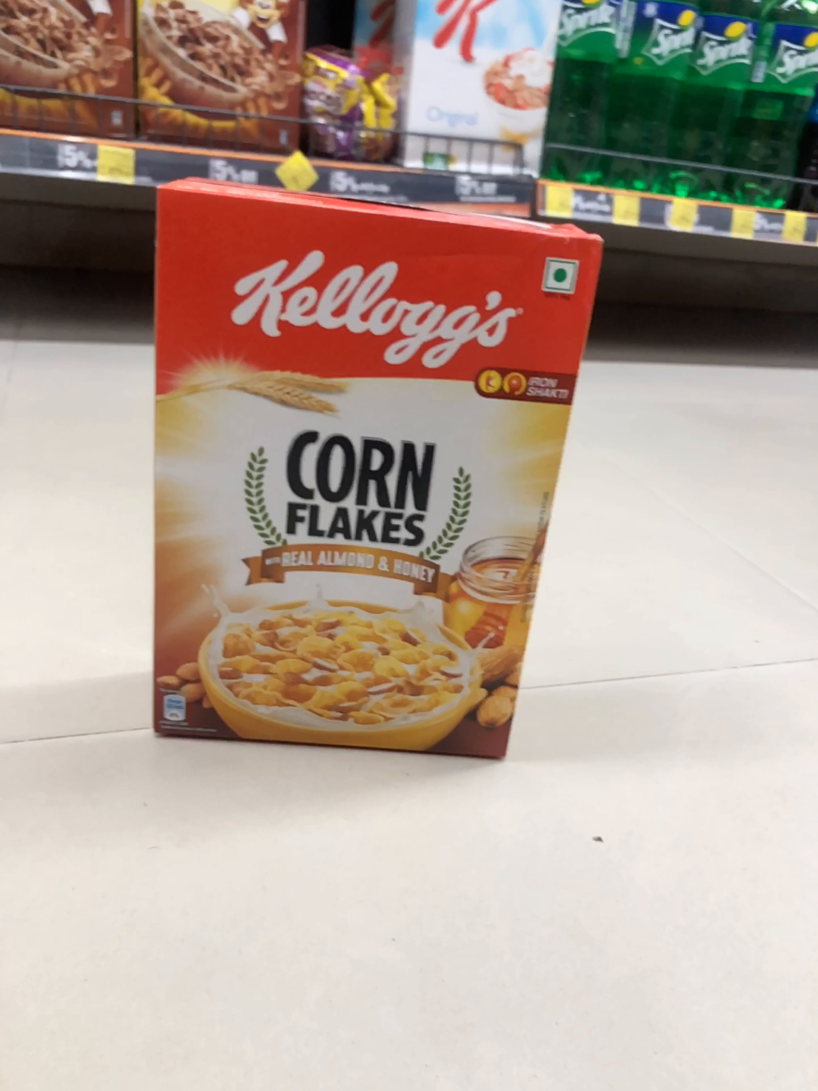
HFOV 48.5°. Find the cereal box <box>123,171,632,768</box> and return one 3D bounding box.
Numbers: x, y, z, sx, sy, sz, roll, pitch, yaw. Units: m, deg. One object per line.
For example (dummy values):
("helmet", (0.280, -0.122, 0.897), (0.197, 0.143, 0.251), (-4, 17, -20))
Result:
("cereal box", (-0.025, -0.026, 0.421), (0.190, 0.249, 0.070), (5, 24, -4))
